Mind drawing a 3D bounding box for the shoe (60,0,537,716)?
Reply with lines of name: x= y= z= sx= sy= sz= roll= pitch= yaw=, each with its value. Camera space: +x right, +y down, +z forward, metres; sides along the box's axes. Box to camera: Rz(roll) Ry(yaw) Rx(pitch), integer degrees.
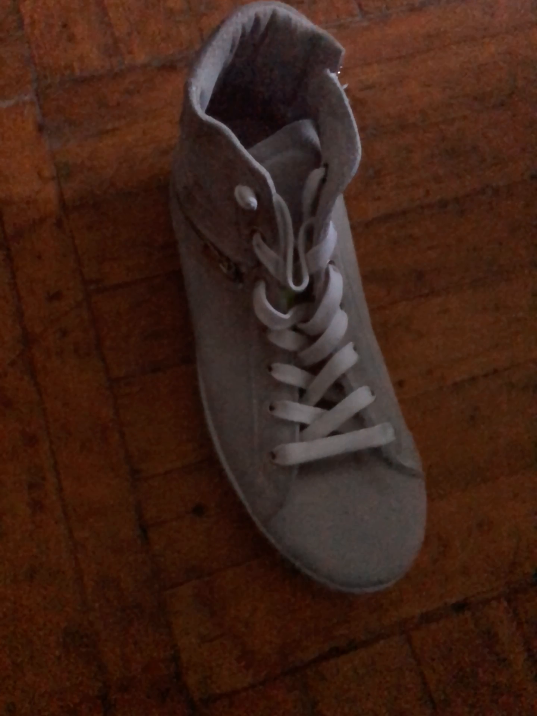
shoe: x=0.015 y=-0.012 z=0.319 sx=0.130 sy=0.220 sz=0.310 roll=-14 pitch=74 yaw=-1
